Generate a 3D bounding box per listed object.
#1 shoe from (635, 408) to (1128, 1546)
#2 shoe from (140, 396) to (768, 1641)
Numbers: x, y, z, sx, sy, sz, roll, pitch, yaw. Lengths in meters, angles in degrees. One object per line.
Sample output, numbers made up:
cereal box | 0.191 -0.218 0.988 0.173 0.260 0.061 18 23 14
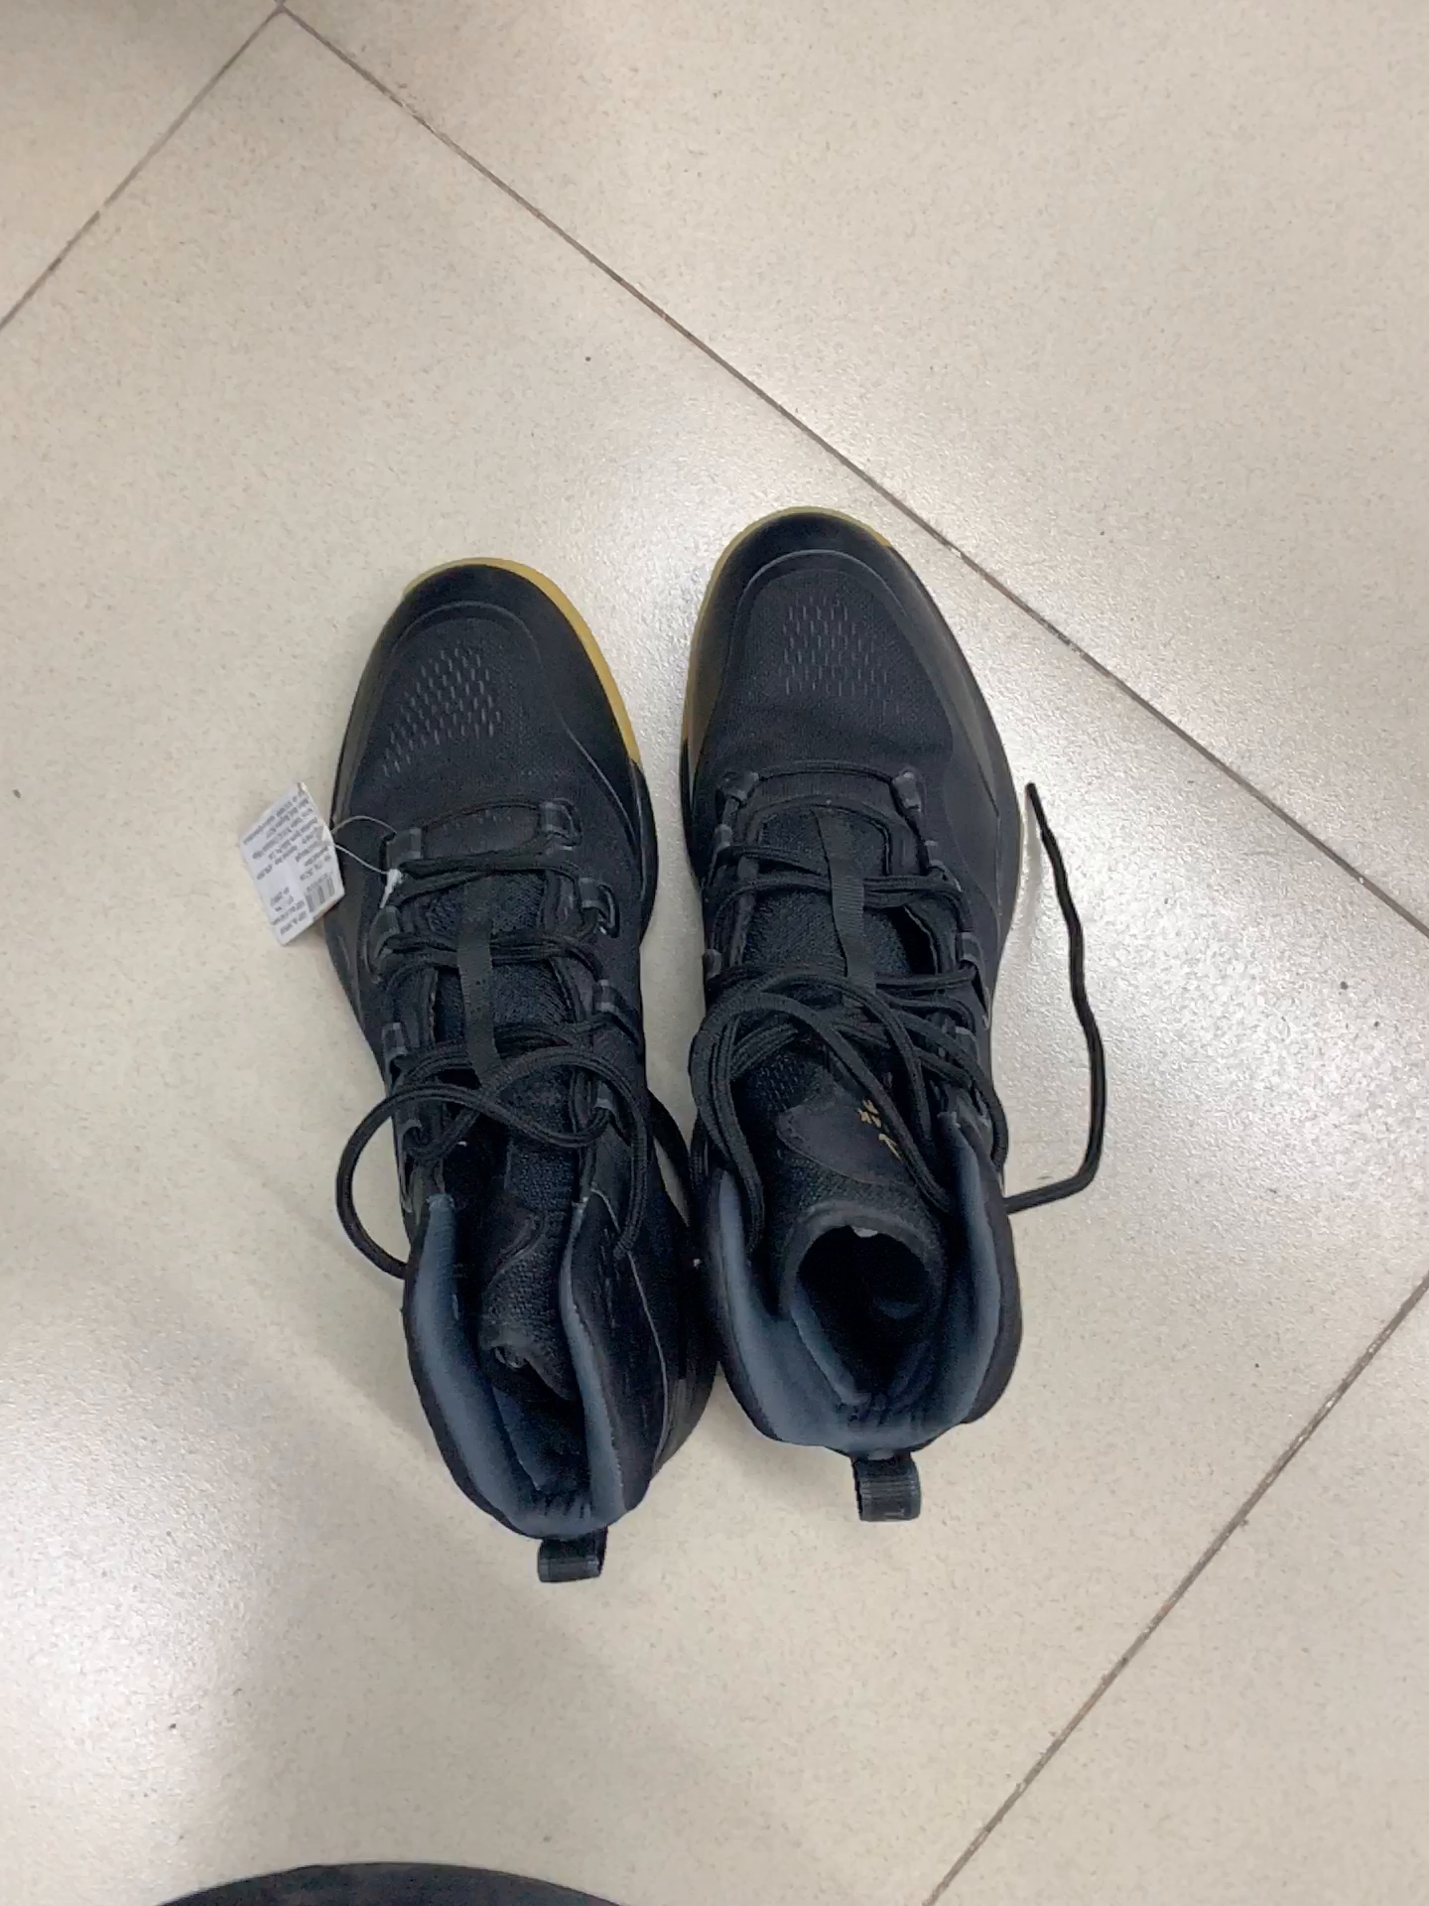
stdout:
shoe | 0.043 0.006 0.425 0.110 0.090 0.290 -3 87 2
shoe | -0.064 0.017 0.428 0.110 0.140 0.290 -10 87 1
